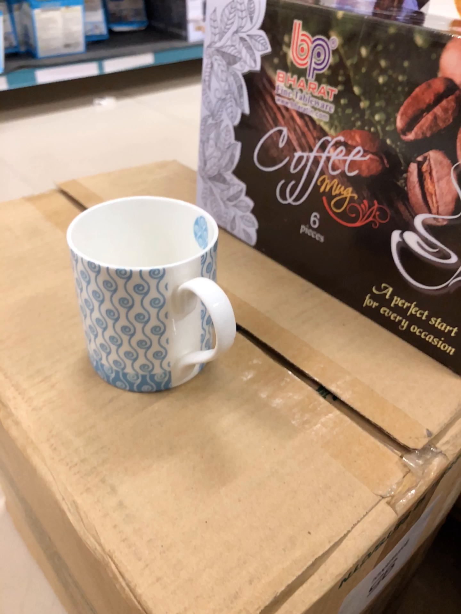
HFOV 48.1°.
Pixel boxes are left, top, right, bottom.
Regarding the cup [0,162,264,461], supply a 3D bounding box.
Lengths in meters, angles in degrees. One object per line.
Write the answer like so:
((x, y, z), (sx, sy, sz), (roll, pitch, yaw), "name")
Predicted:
((-0.049, -0.004, 0.262), (0.070, 0.089, 0.110), (-27, 47, -32), "cup")
